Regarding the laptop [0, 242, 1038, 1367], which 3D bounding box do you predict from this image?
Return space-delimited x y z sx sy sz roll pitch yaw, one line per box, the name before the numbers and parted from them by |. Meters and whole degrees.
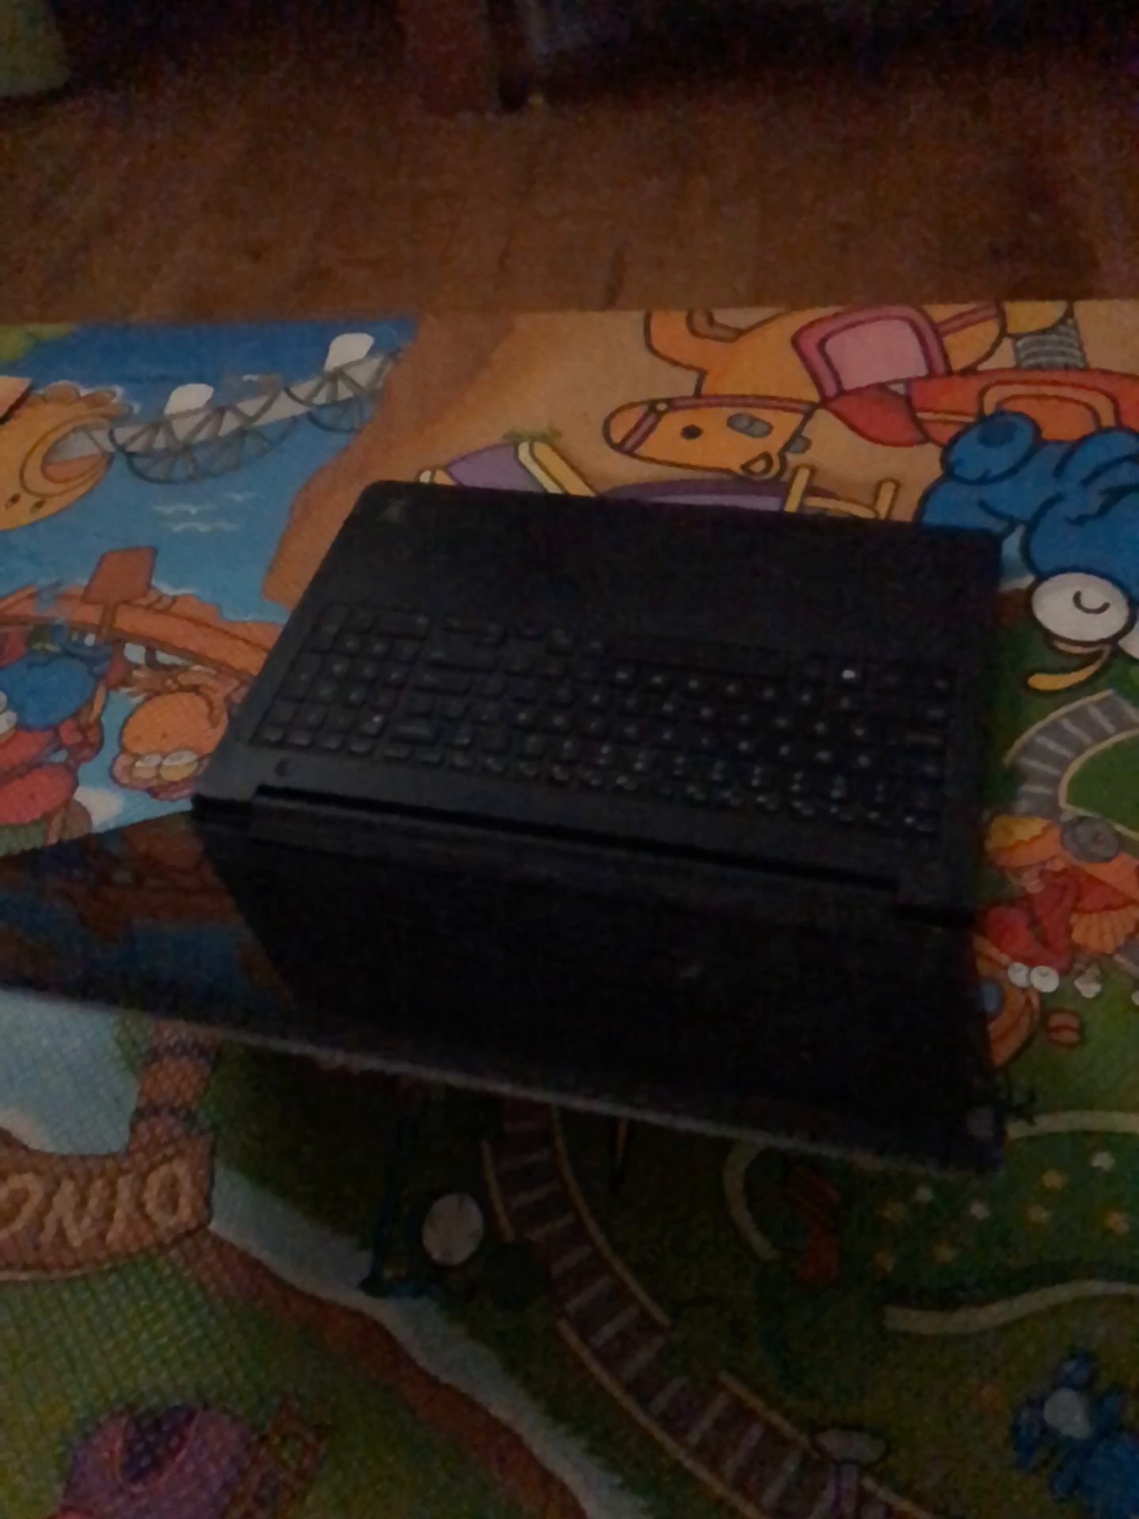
laptop | -0.006 -0.034 0.534 0.361 0.158 0.431 8 51 14
